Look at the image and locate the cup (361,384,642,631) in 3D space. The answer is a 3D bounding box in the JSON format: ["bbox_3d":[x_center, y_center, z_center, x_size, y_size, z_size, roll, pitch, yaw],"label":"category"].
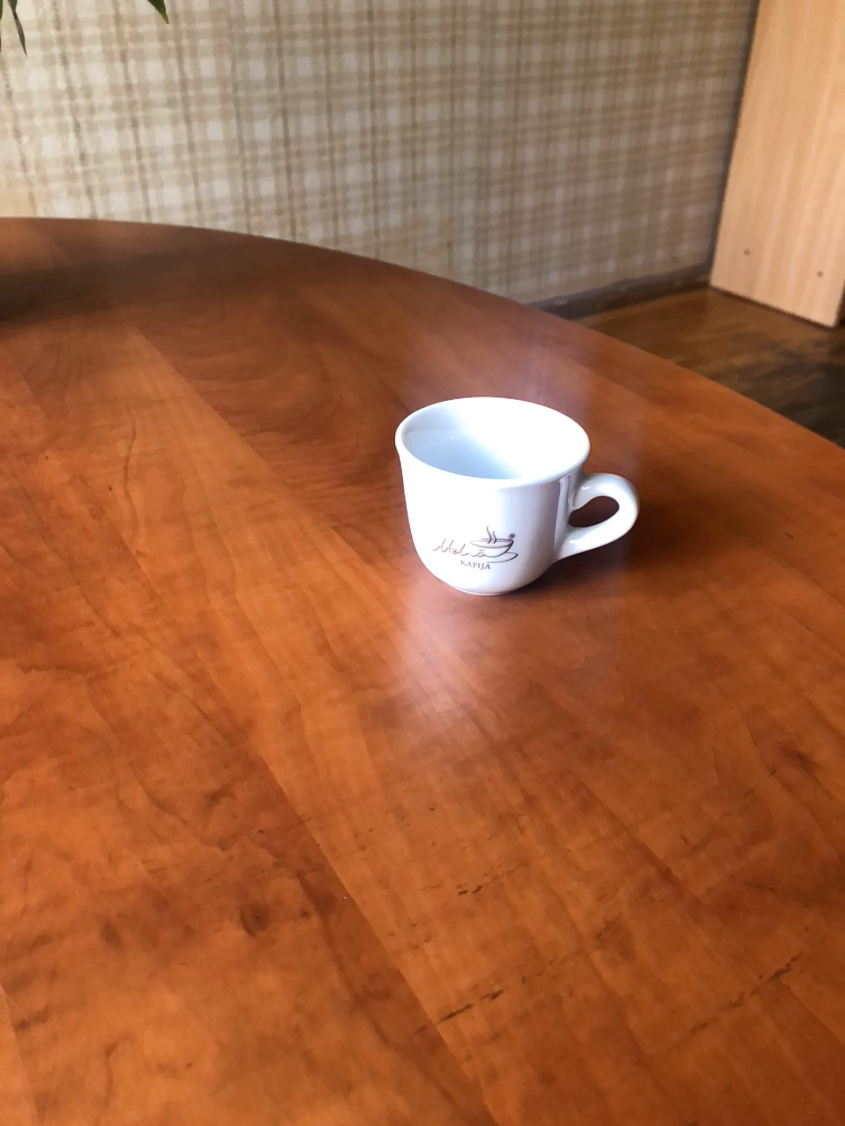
[{"bbox_3d":[0.028,-0.021,0.316,0.083,0.050,0.065,6,33,8],"label":"cup"}]
